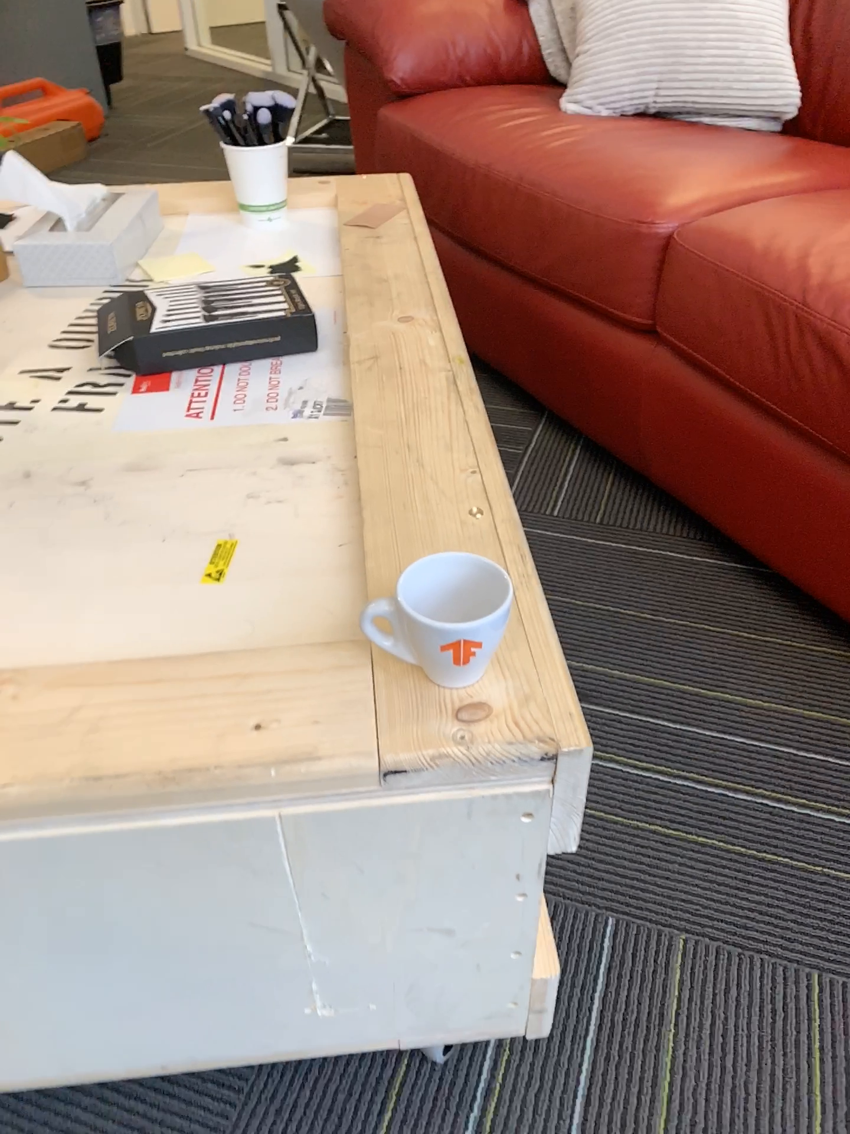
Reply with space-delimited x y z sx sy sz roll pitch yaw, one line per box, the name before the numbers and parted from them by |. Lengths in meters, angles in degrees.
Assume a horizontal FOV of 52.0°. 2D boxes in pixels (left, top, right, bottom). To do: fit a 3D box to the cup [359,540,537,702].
cup | 0.011 0.029 0.484 0.090 0.060 0.060 -3 38 -2
